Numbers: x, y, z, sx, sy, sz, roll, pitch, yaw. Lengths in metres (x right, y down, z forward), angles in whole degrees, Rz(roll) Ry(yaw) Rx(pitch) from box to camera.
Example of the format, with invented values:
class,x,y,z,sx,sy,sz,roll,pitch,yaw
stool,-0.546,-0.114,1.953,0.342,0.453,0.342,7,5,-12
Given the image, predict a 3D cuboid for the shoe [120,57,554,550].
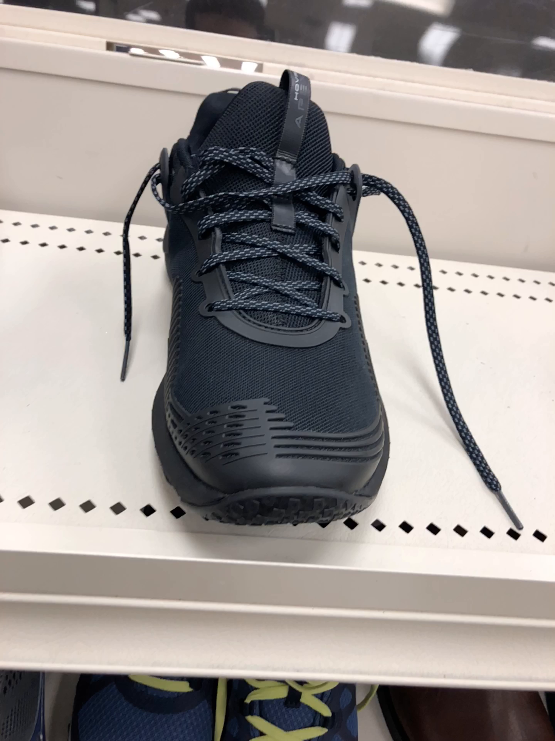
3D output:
class,x,y,z,sx,sy,sz,roll,pitch,yaw
shoe,-0.006,-0.081,0.349,0.120,0.129,0.353,4,31,-9
